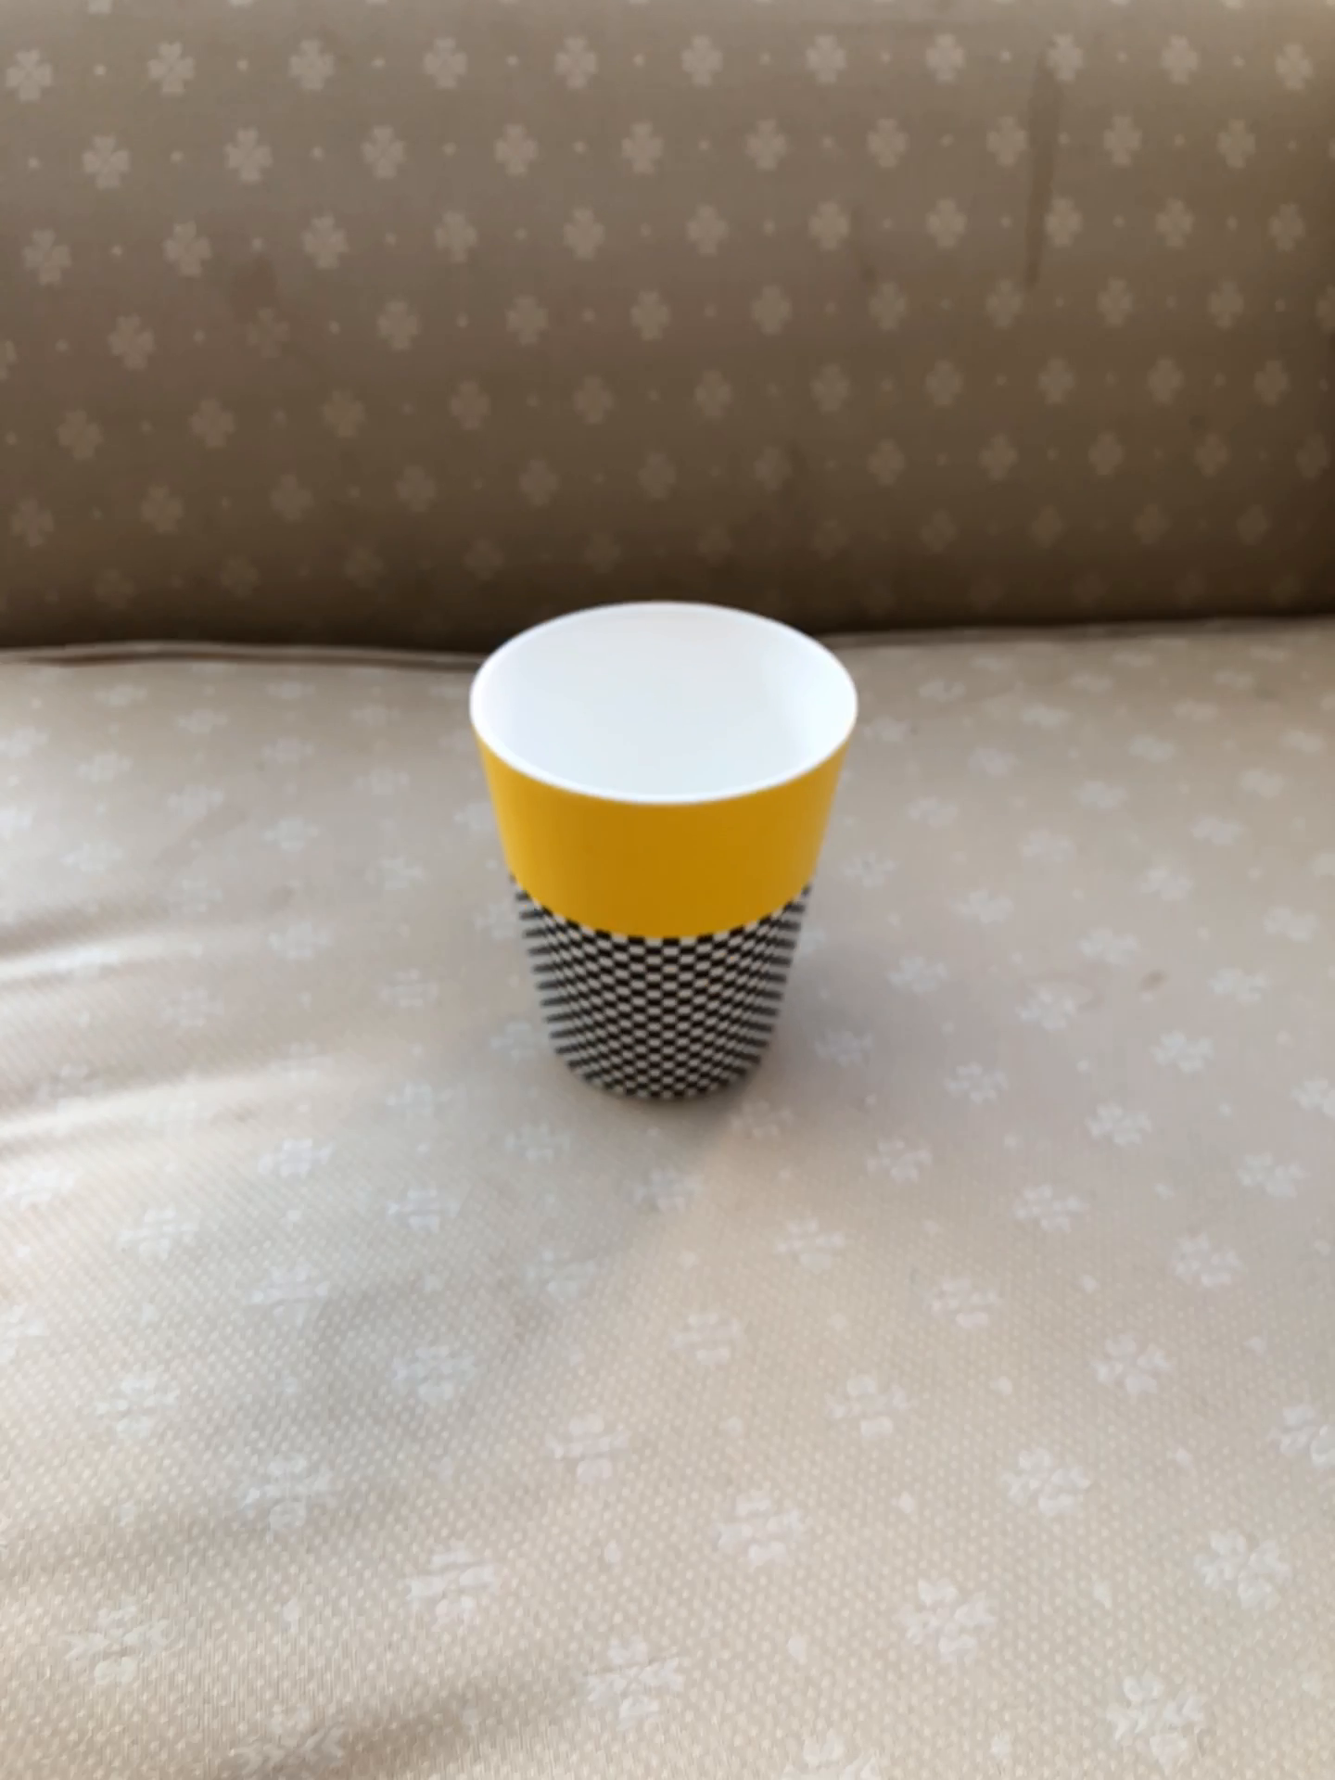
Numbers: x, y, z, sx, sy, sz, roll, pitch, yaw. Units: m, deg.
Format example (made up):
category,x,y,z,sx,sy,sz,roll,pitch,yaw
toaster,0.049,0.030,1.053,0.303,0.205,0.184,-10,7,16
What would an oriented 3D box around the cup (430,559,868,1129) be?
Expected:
category,x,y,z,sx,sy,sz,roll,pitch,yaw
cup,-0.001,-0.015,0.370,0.087,0.090,0.112,1,38,2
